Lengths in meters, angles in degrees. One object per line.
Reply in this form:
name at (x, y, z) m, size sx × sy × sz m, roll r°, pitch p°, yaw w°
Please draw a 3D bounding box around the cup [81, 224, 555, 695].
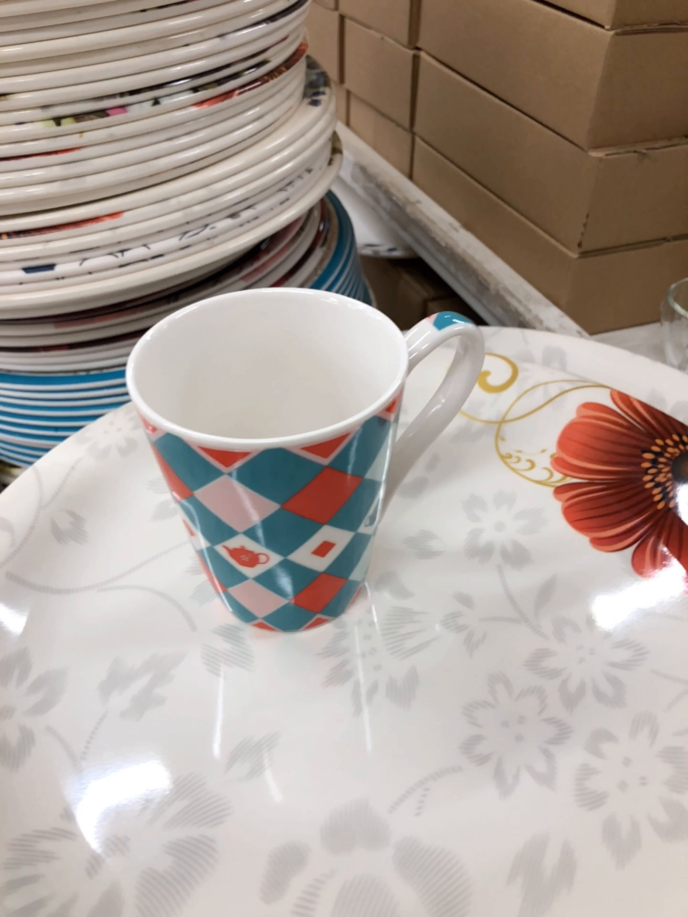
cup at (-0.006, -0.006, 0.278) m, size 0.131 × 0.099 × 0.080 m, roll -28°, pitch 48°, yaw -28°
